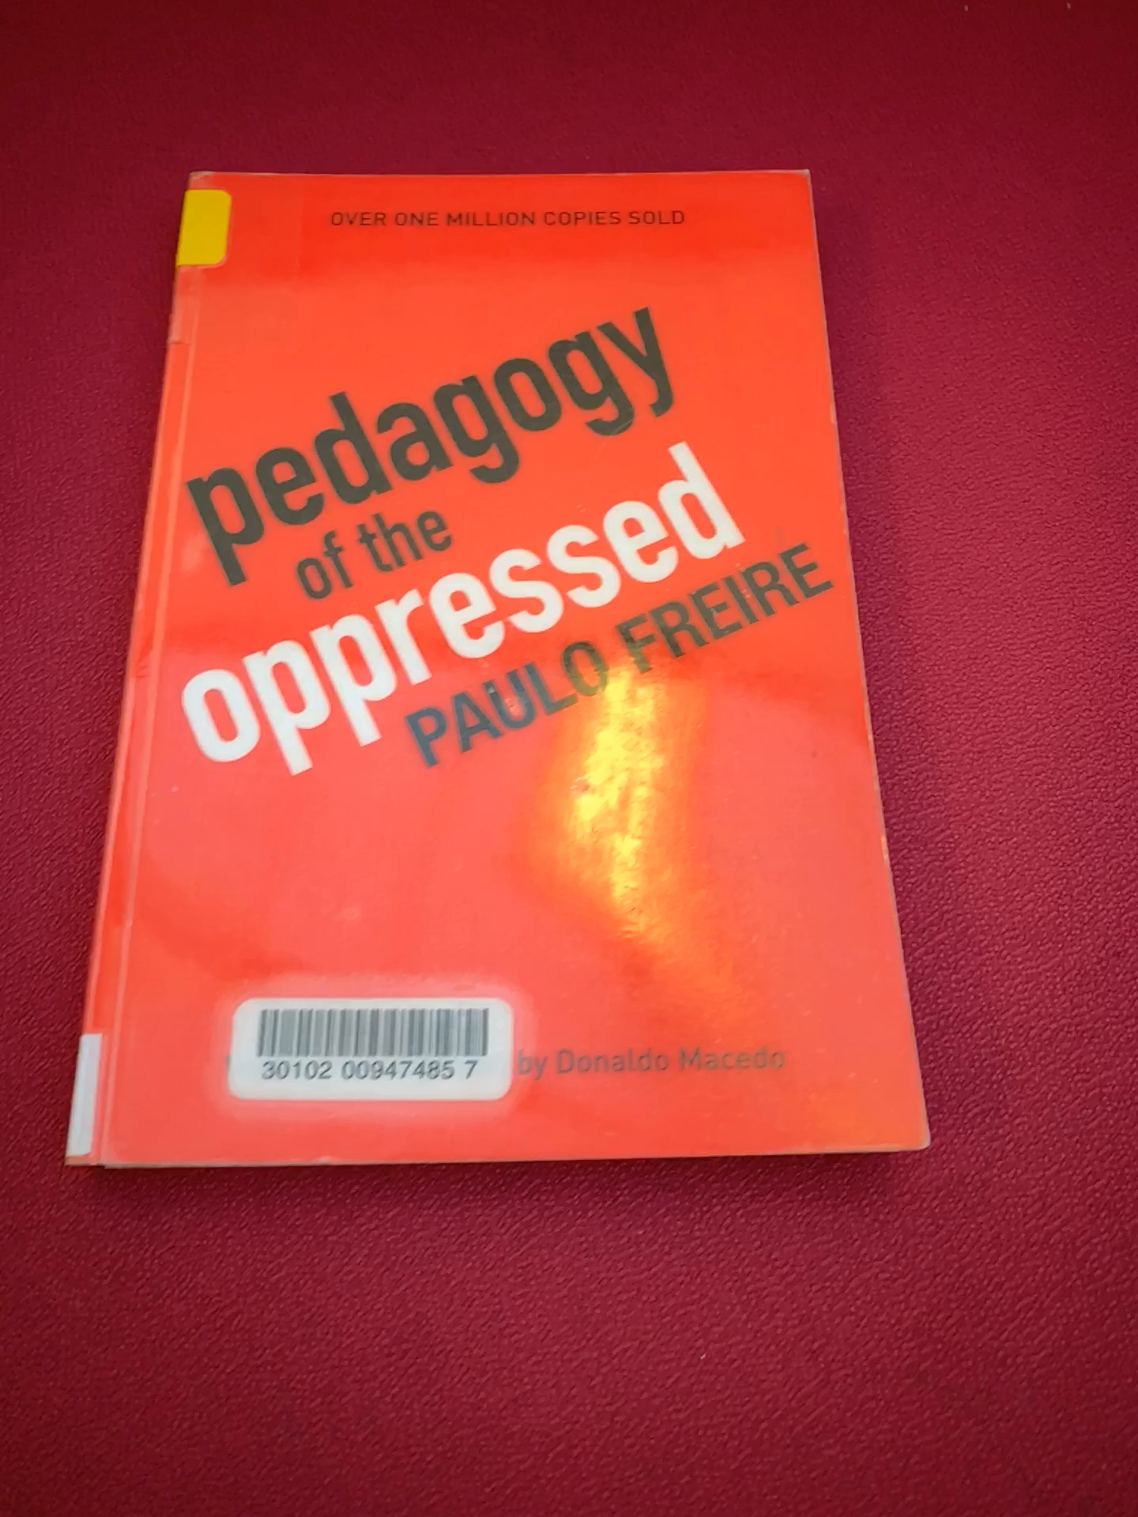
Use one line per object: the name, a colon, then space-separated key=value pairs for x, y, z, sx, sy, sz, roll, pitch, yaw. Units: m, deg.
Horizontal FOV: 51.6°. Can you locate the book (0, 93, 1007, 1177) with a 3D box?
book: x=-0.015 y=-0.040 z=0.251 sx=0.170 sy=0.030 sz=0.241 roll=-1 pitch=69 yaw=-1
